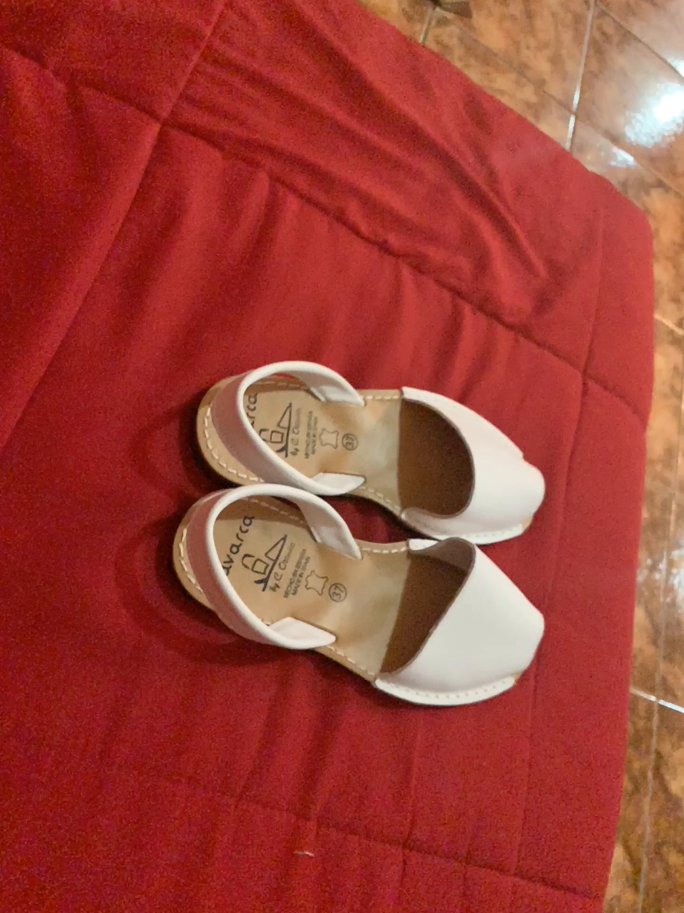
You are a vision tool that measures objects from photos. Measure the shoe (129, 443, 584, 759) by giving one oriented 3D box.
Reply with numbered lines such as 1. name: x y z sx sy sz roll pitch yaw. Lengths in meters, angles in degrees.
1. shoe: 0.021 0.092 0.408 0.248 0.063 0.108 21 67 -22

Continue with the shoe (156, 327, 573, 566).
1. shoe: 0.022 0.006 0.435 0.250 0.063 0.103 8 72 -26
